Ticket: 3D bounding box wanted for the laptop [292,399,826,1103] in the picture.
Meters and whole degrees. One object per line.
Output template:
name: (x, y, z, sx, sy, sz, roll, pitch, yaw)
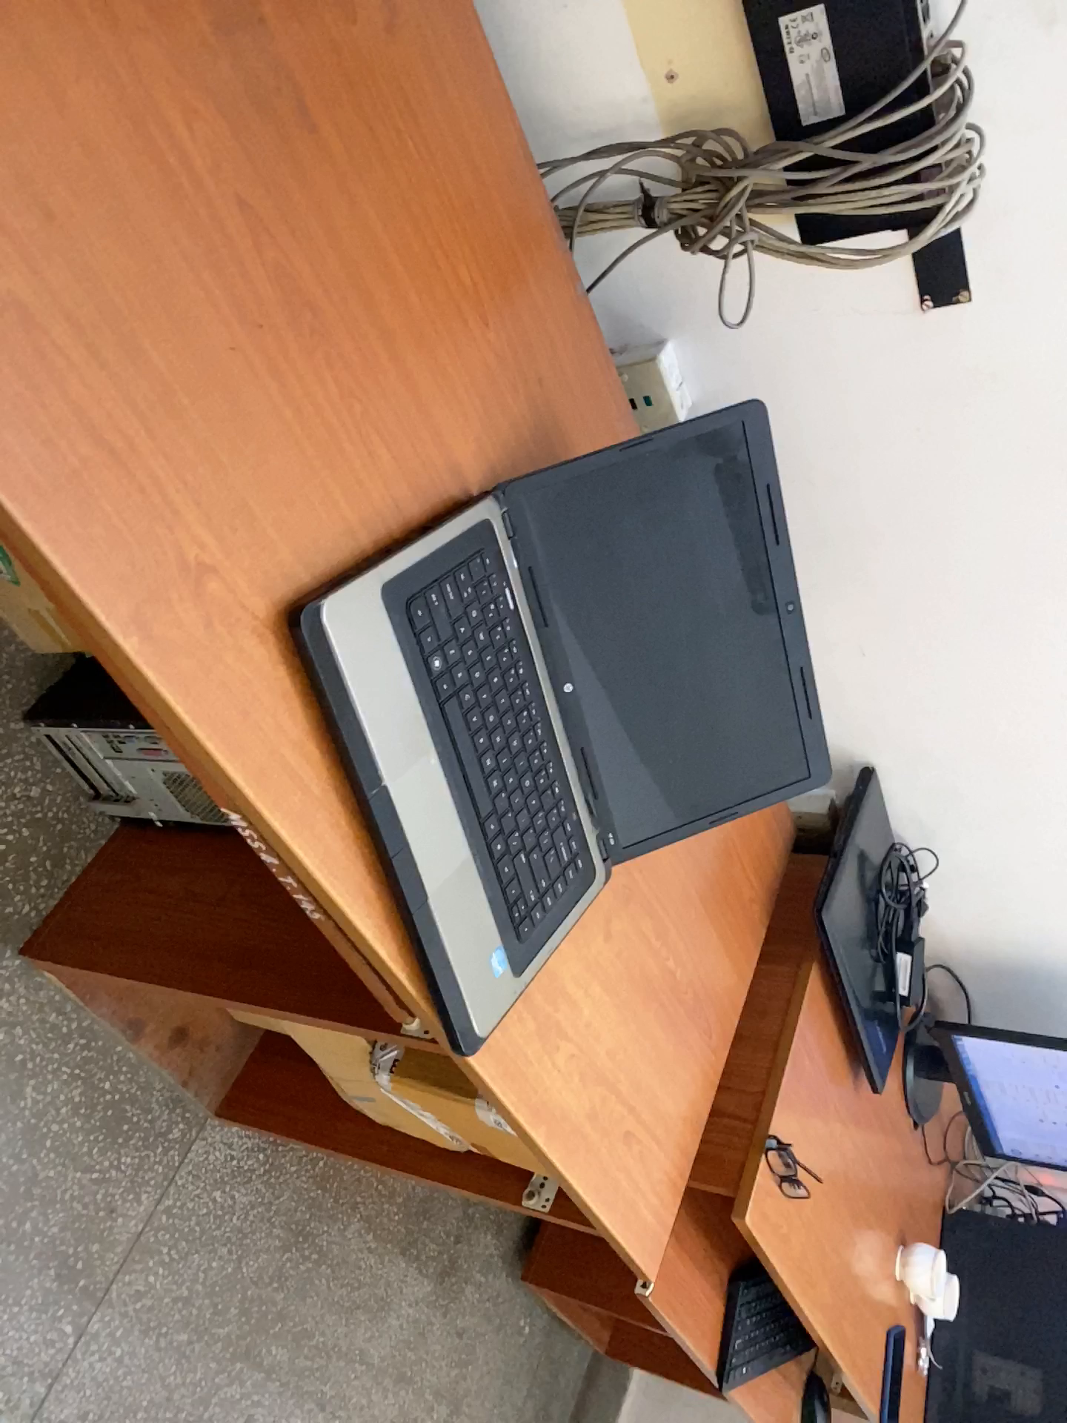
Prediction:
laptop: (0.067, 0.006, 0.887, 0.427, 0.158, 0.383, -43, 125, -46)
